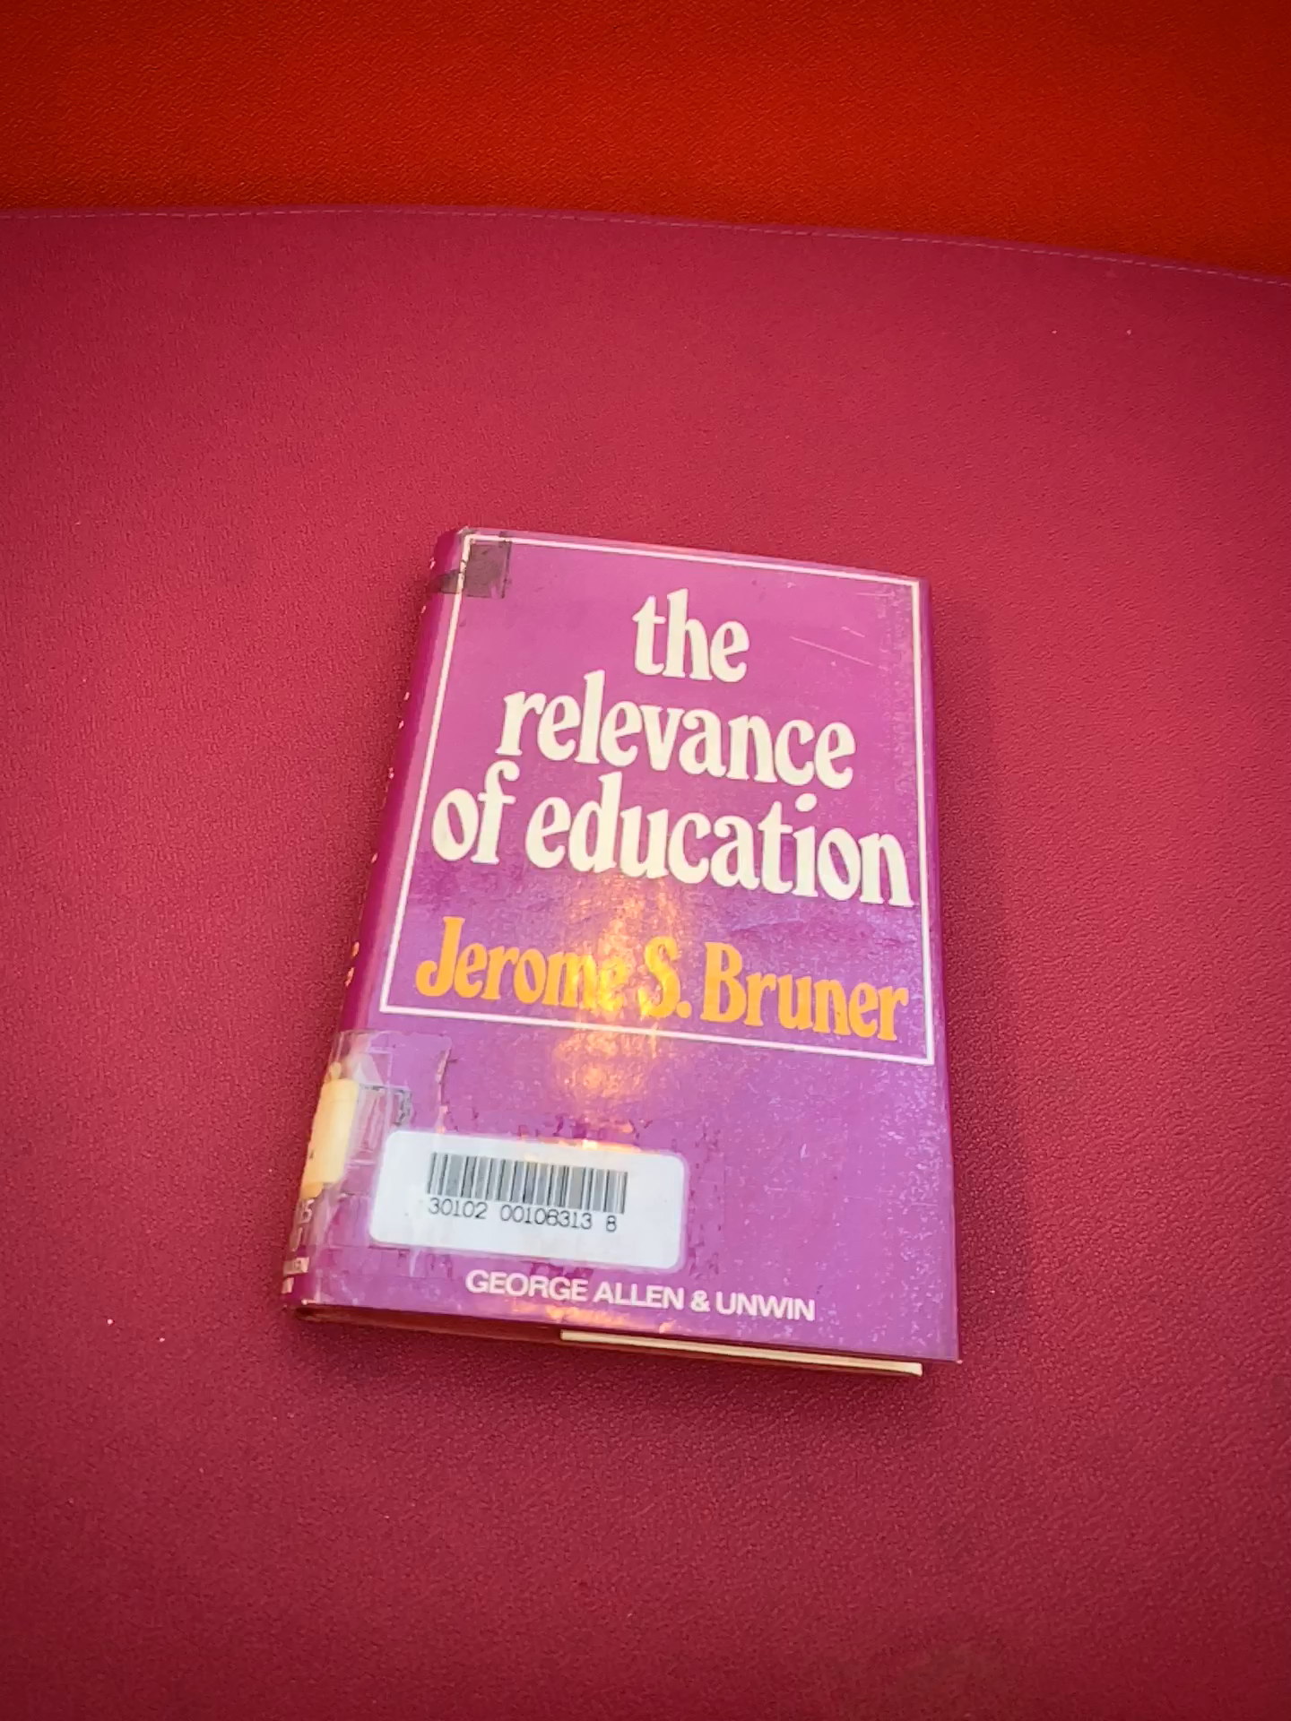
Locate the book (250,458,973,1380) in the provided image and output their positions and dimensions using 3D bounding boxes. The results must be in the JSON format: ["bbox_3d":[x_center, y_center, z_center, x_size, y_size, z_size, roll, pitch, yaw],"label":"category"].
[{"bbox_3d":[0.002,0.003,0.346,0.150,0.040,0.231,7,61,-2],"label":"book"}]
